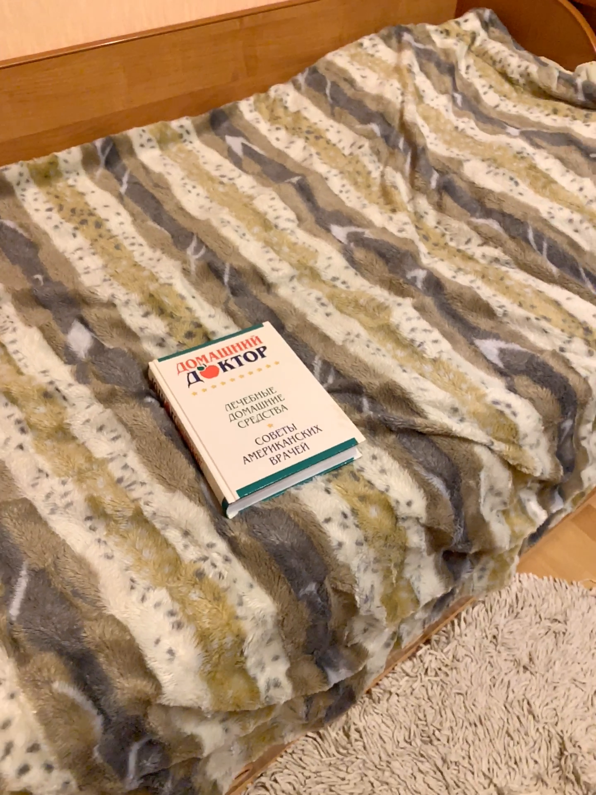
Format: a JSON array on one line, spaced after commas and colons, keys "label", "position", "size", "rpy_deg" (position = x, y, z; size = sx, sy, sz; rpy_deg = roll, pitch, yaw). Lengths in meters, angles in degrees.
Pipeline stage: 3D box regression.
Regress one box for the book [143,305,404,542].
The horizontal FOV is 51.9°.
[{"label": "book", "position": [-0.034, 0.012, 0.676], "size": [0.190, 0.040, 0.241], "rpy_deg": [-22, 53, -21]}]
